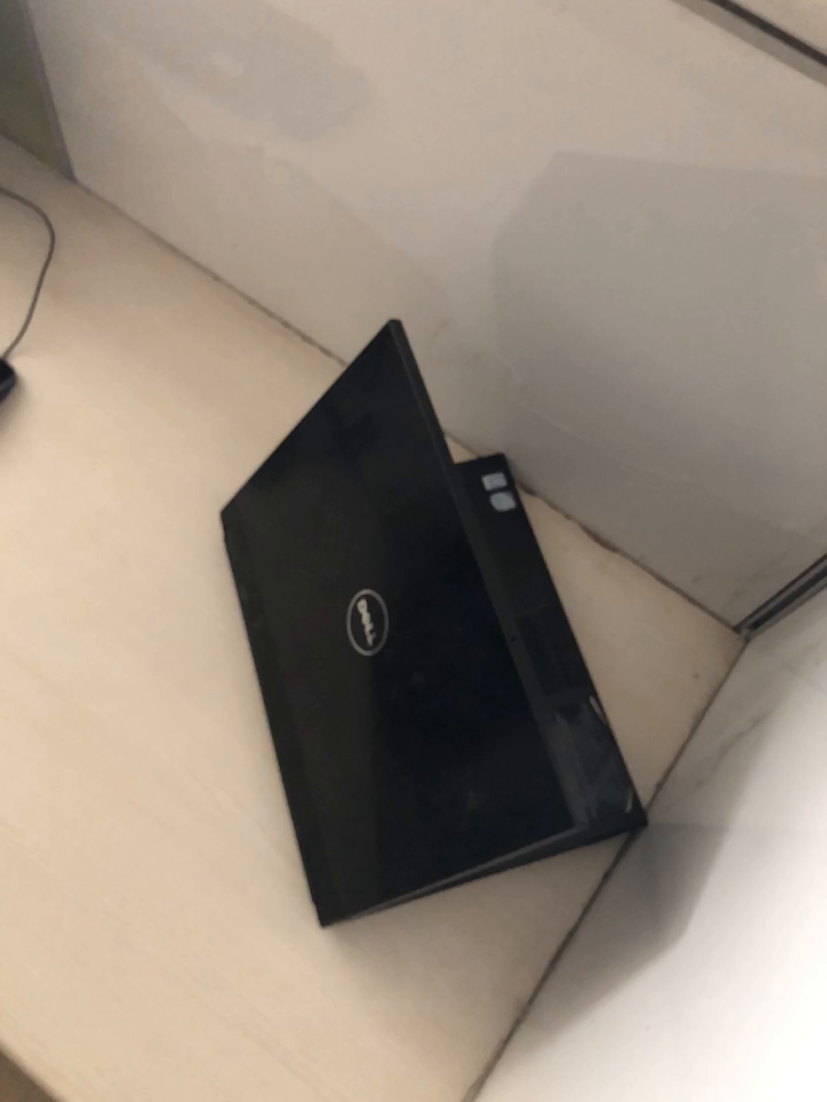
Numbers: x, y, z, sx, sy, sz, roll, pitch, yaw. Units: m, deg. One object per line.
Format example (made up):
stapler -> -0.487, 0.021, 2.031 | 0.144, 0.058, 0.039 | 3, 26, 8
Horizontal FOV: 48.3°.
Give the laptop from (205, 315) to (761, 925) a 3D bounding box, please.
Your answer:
laptop -> 0.021, 0.044, 0.590 | 0.230, 0.191, 0.304 | -12, 68, -15
